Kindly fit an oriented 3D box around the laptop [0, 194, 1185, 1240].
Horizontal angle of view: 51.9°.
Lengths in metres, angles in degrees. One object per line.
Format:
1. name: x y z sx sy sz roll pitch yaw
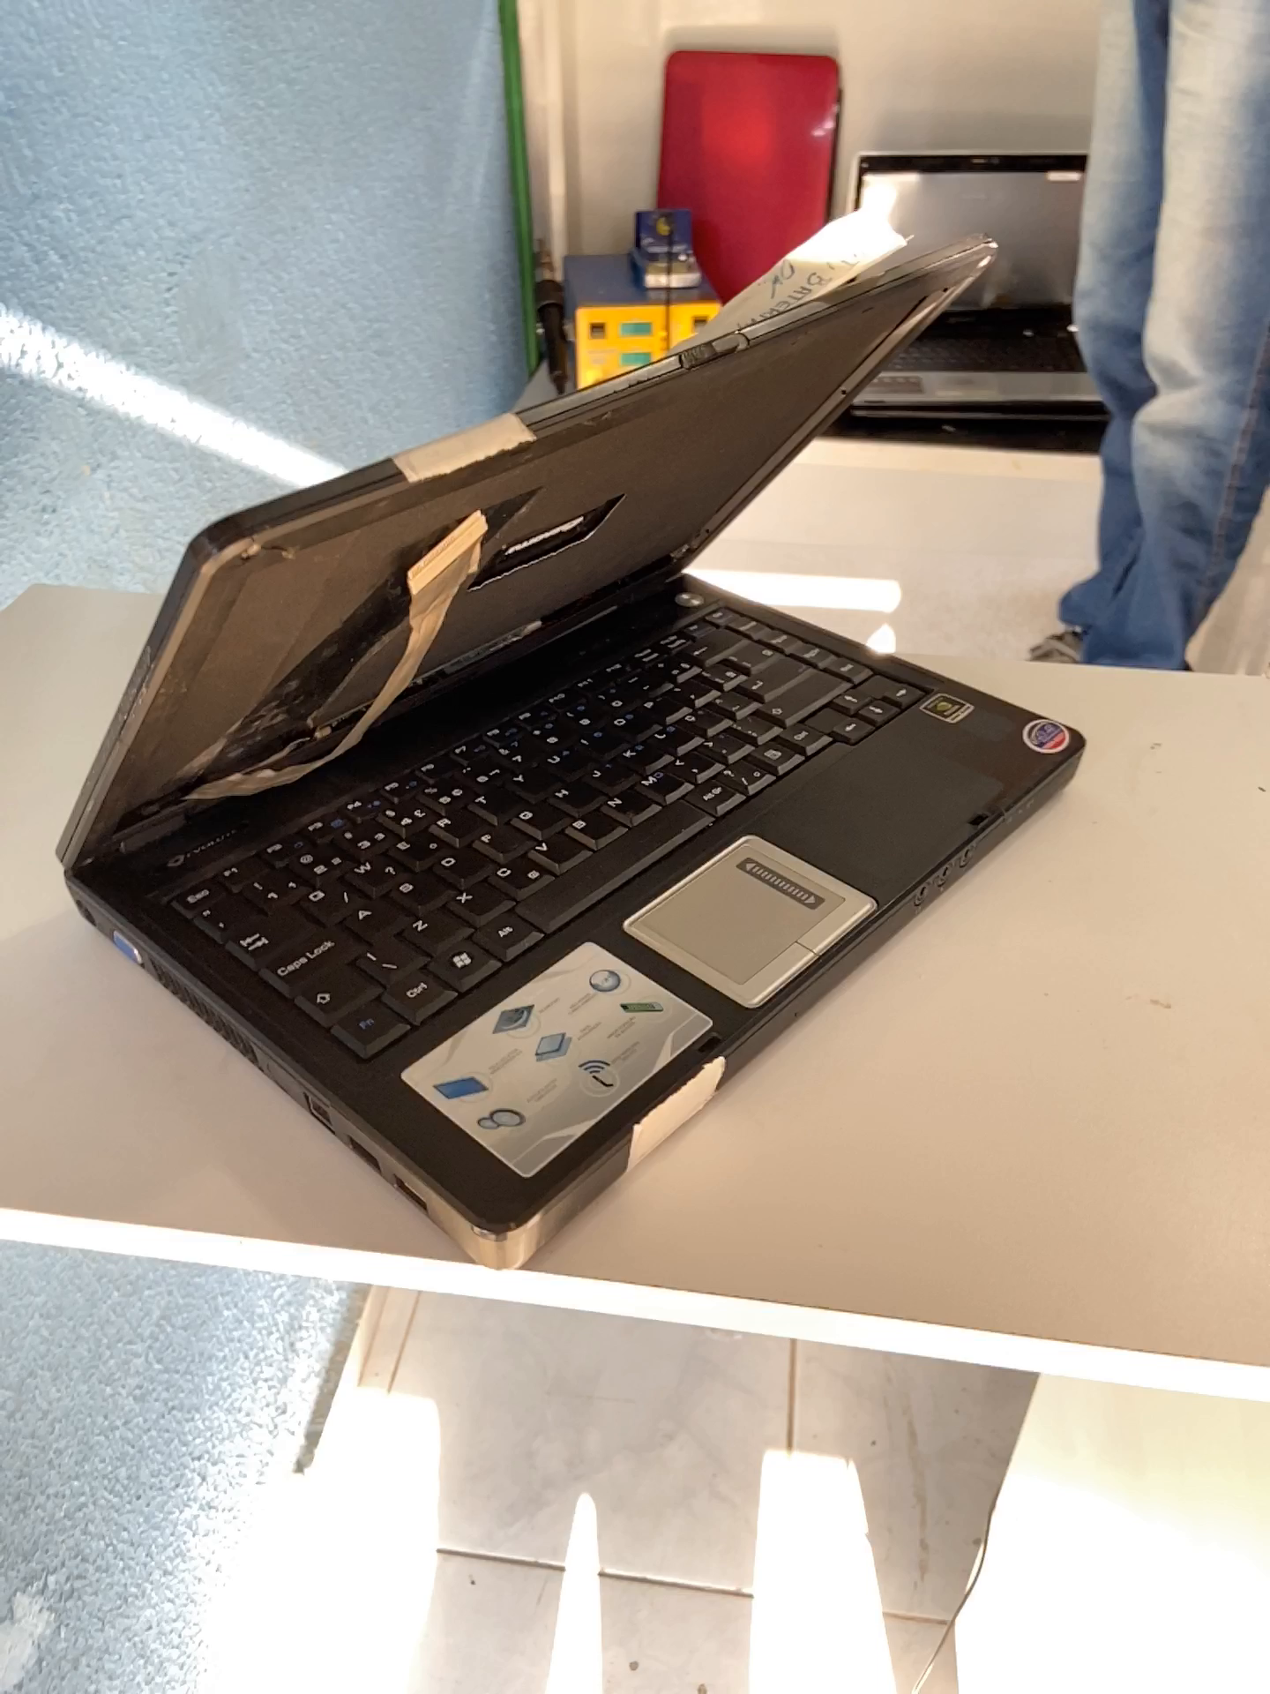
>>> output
1. laptop: -0.010 -0.087 0.449 0.224 0.175 0.329 29 46 33
